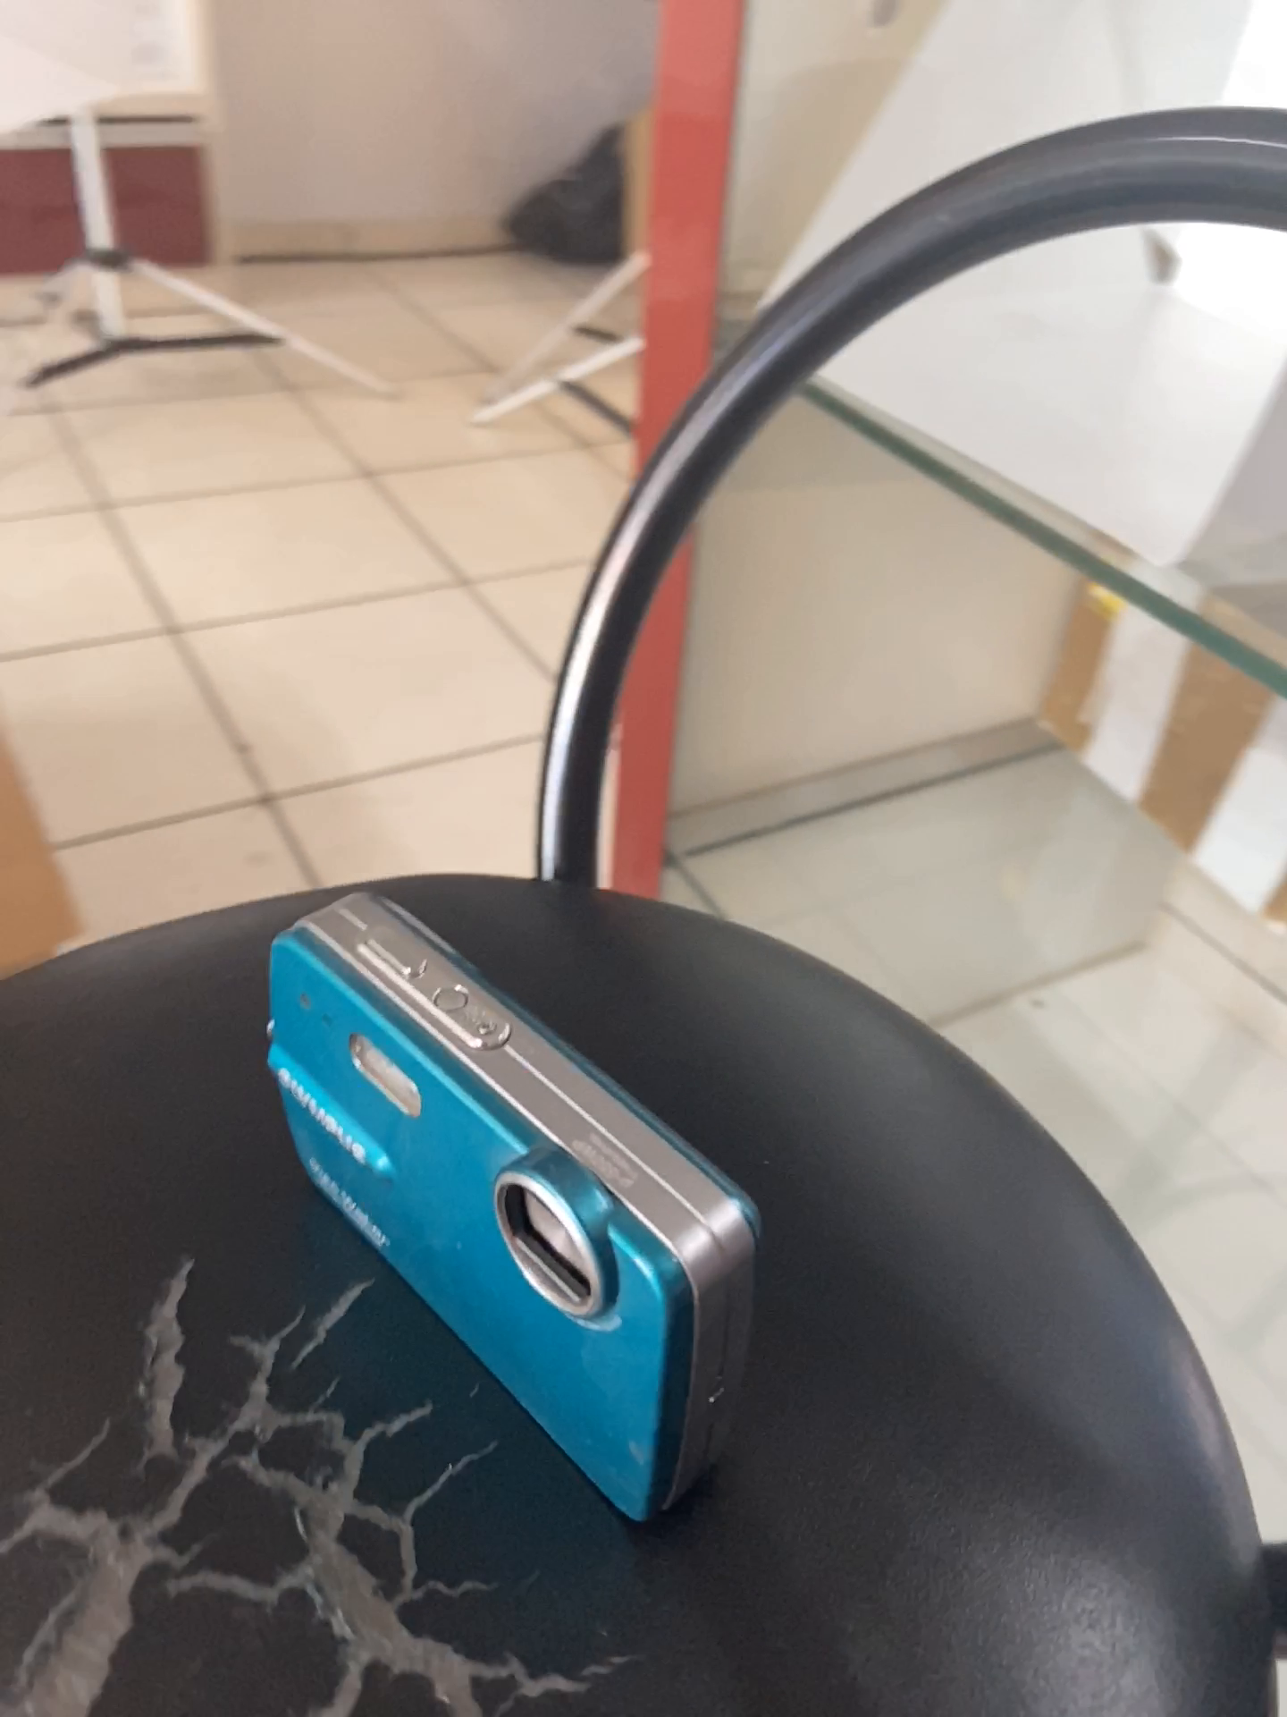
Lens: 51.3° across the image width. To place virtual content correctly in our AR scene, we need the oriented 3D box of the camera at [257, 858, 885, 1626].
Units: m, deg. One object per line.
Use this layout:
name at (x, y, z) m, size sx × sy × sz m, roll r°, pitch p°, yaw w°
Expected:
camera at (-0.017, 0.057, 0.213) m, size 0.100 × 0.070 × 0.030 m, roll 33°, pitch 45°, yaw 32°
